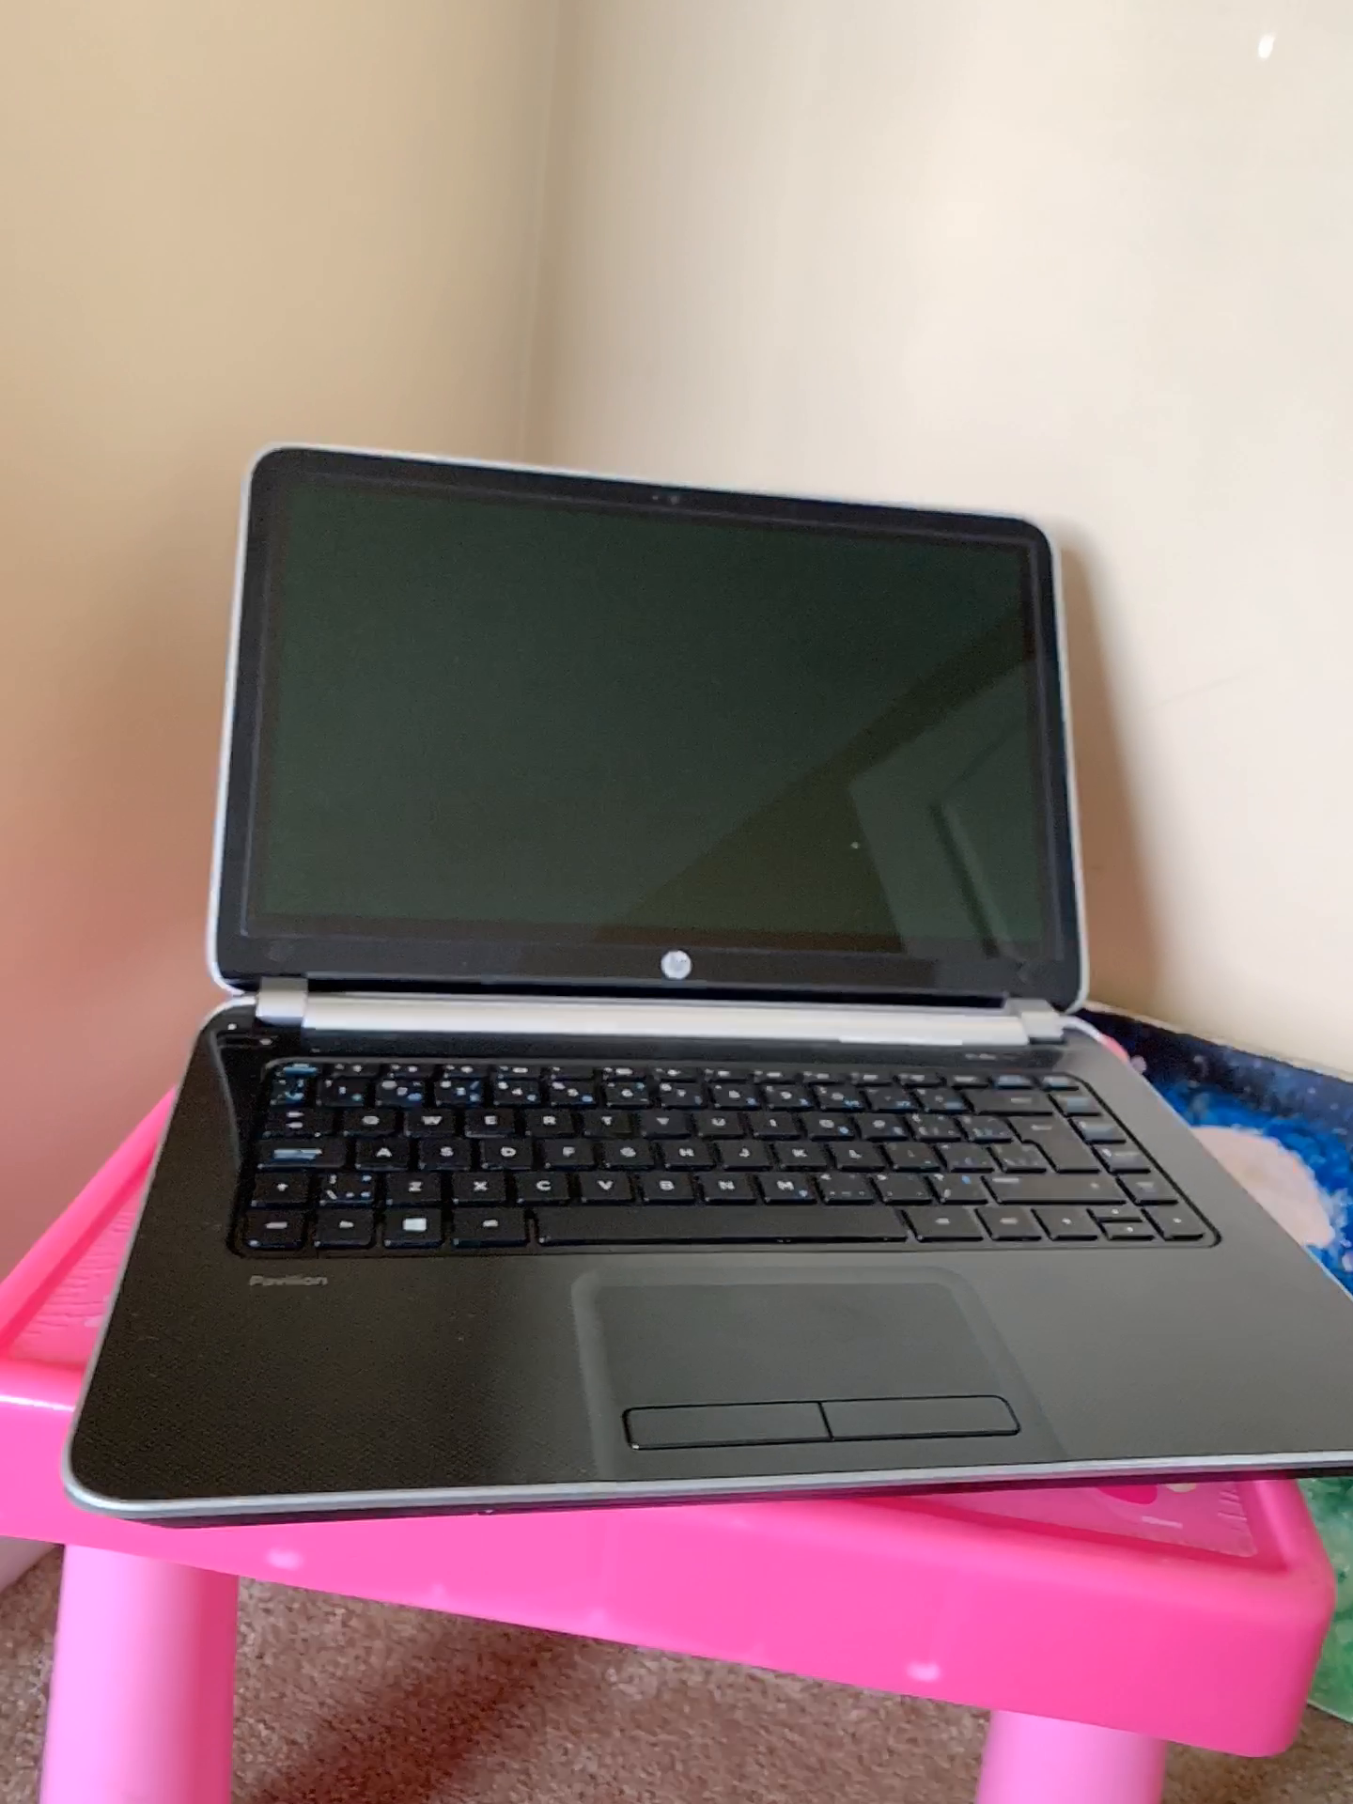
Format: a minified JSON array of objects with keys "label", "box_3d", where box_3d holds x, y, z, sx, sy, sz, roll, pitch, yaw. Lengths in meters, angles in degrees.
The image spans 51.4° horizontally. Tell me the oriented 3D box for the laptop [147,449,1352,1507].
[{"label":"laptop","box_3d":[0.025,-0.012,0.386,0.274,0.161,0.272,2,23,-12]}]
